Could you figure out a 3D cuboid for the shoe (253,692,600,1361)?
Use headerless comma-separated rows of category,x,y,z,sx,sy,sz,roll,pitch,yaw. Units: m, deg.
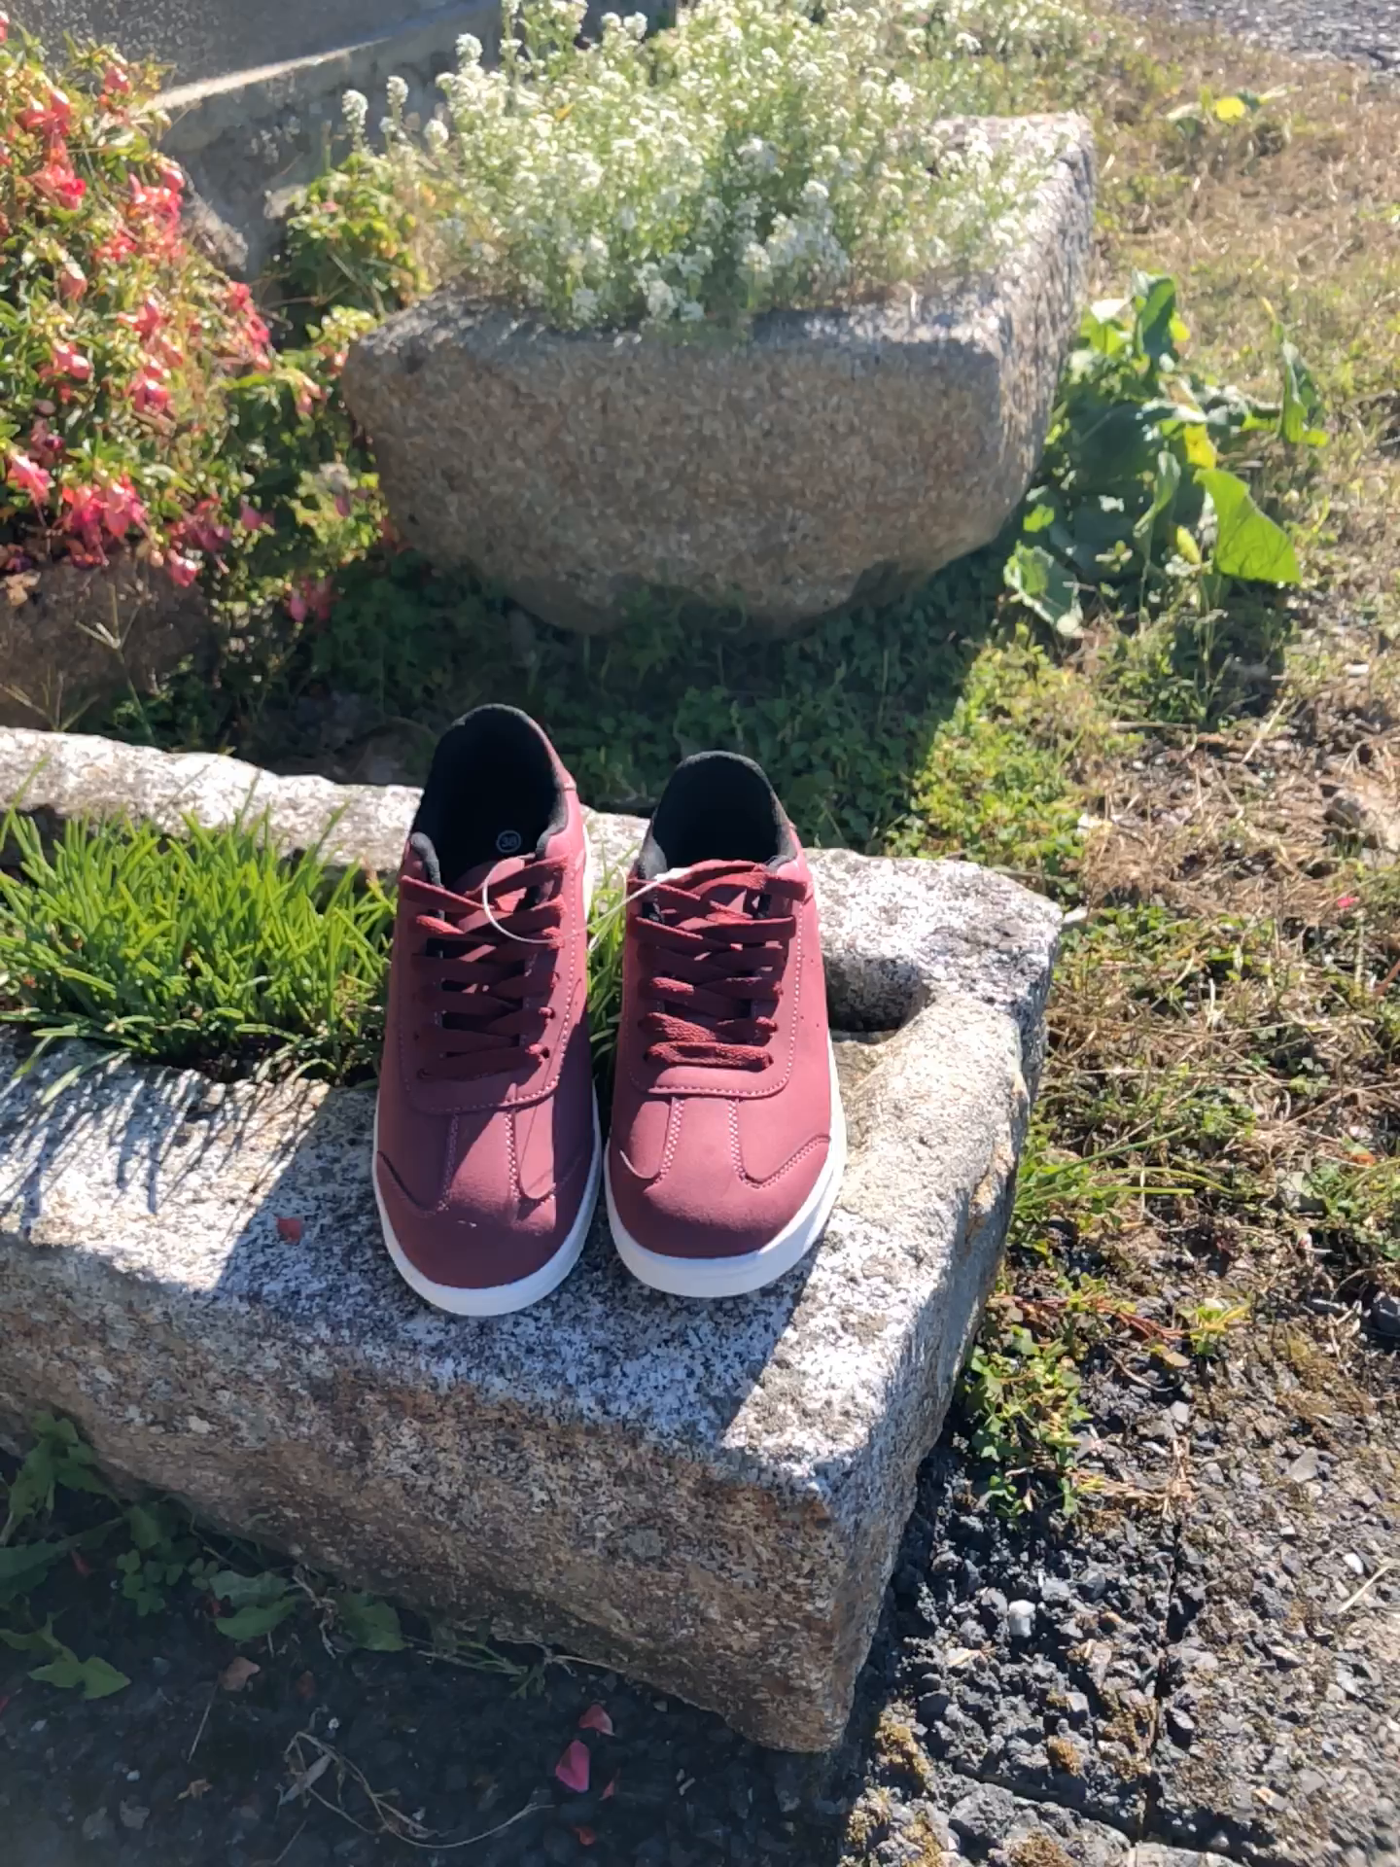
shoe,-0.094,0.024,0.604,0.100,0.080,0.262,-5,47,1

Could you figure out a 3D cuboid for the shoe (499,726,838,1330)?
shoe,0.001,0.021,0.593,0.100,0.080,0.262,-2,36,6
